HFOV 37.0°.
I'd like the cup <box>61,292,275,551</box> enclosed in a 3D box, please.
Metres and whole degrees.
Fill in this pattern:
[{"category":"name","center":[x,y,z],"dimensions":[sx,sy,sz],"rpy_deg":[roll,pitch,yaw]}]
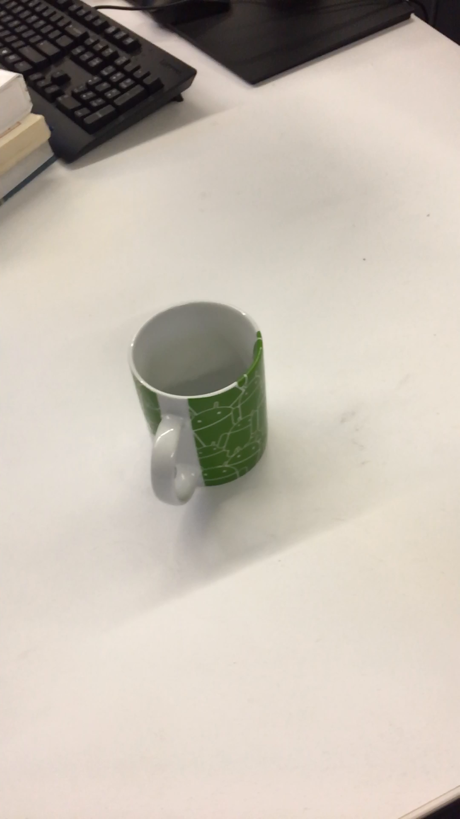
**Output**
[{"category":"cup","center":[-0.029,0.006,0.426],"dimensions":[0.090,0.090,0.120],"rpy_deg":[8,54,11]}]
